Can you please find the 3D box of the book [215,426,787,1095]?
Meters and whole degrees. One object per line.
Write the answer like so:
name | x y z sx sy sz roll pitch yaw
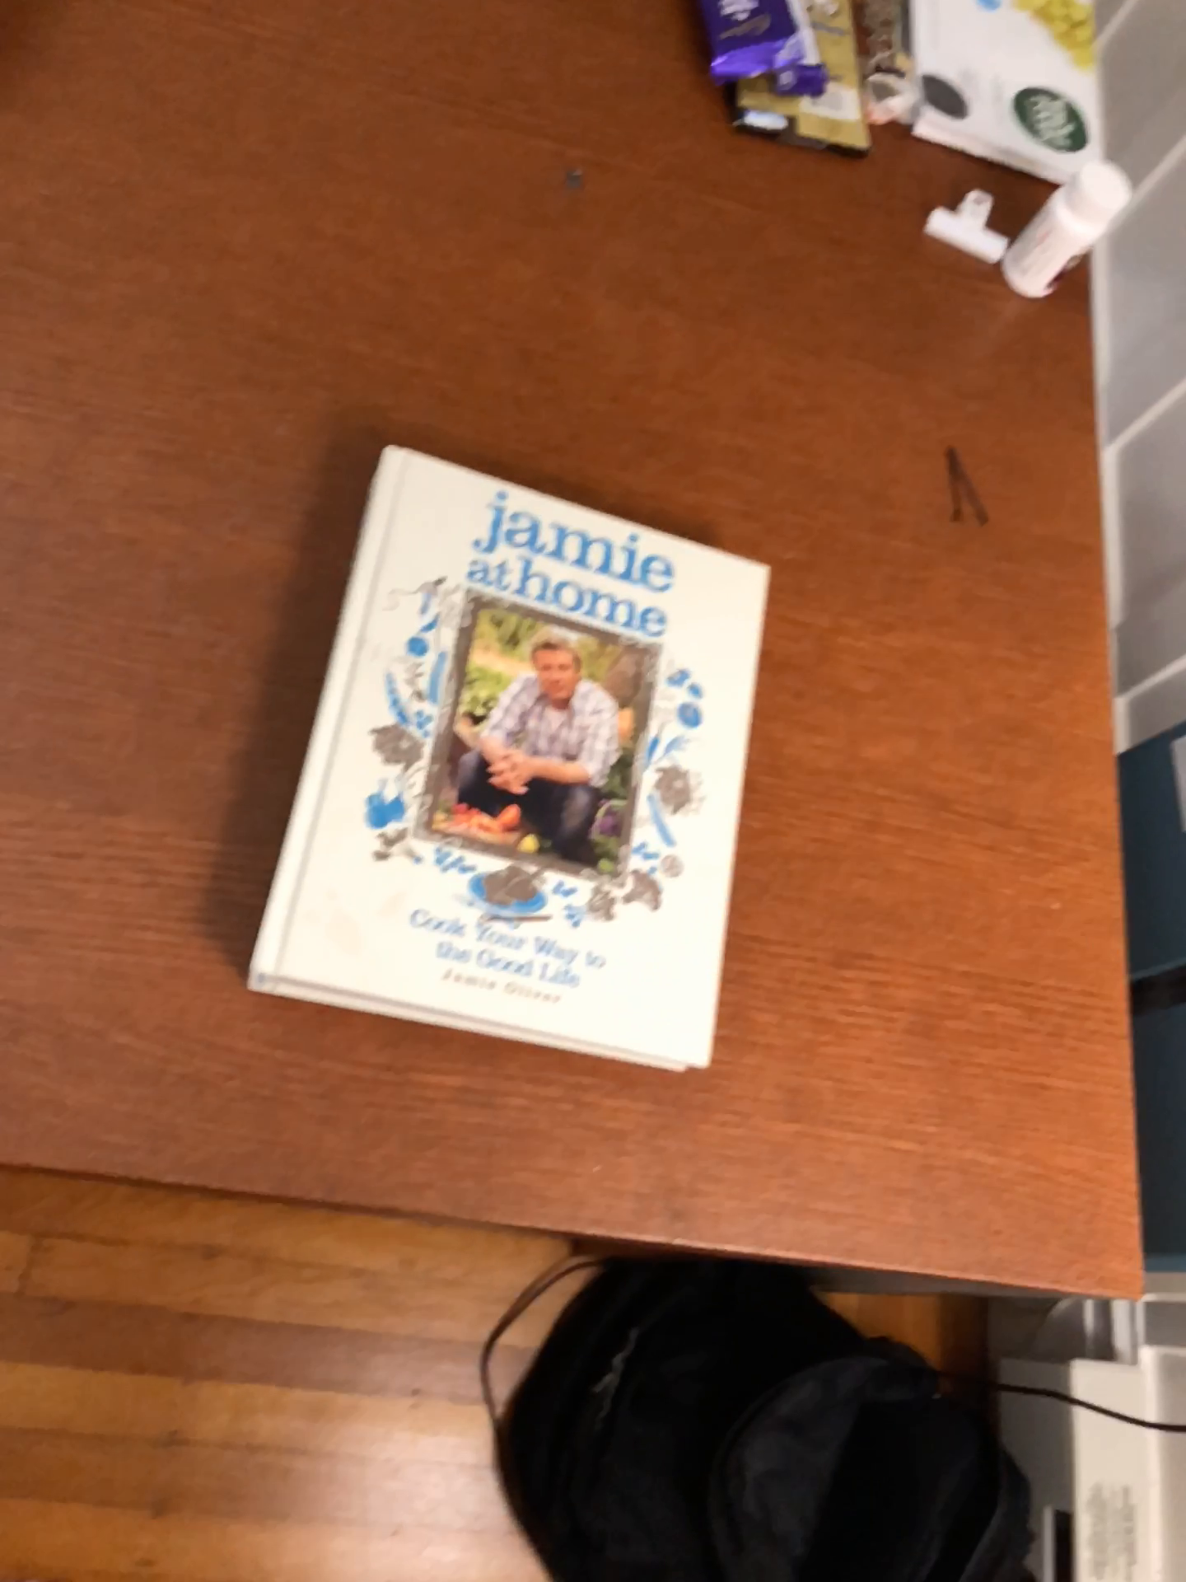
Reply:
book | -0.030 -0.016 0.592 0.210 0.040 0.261 15 67 -12
